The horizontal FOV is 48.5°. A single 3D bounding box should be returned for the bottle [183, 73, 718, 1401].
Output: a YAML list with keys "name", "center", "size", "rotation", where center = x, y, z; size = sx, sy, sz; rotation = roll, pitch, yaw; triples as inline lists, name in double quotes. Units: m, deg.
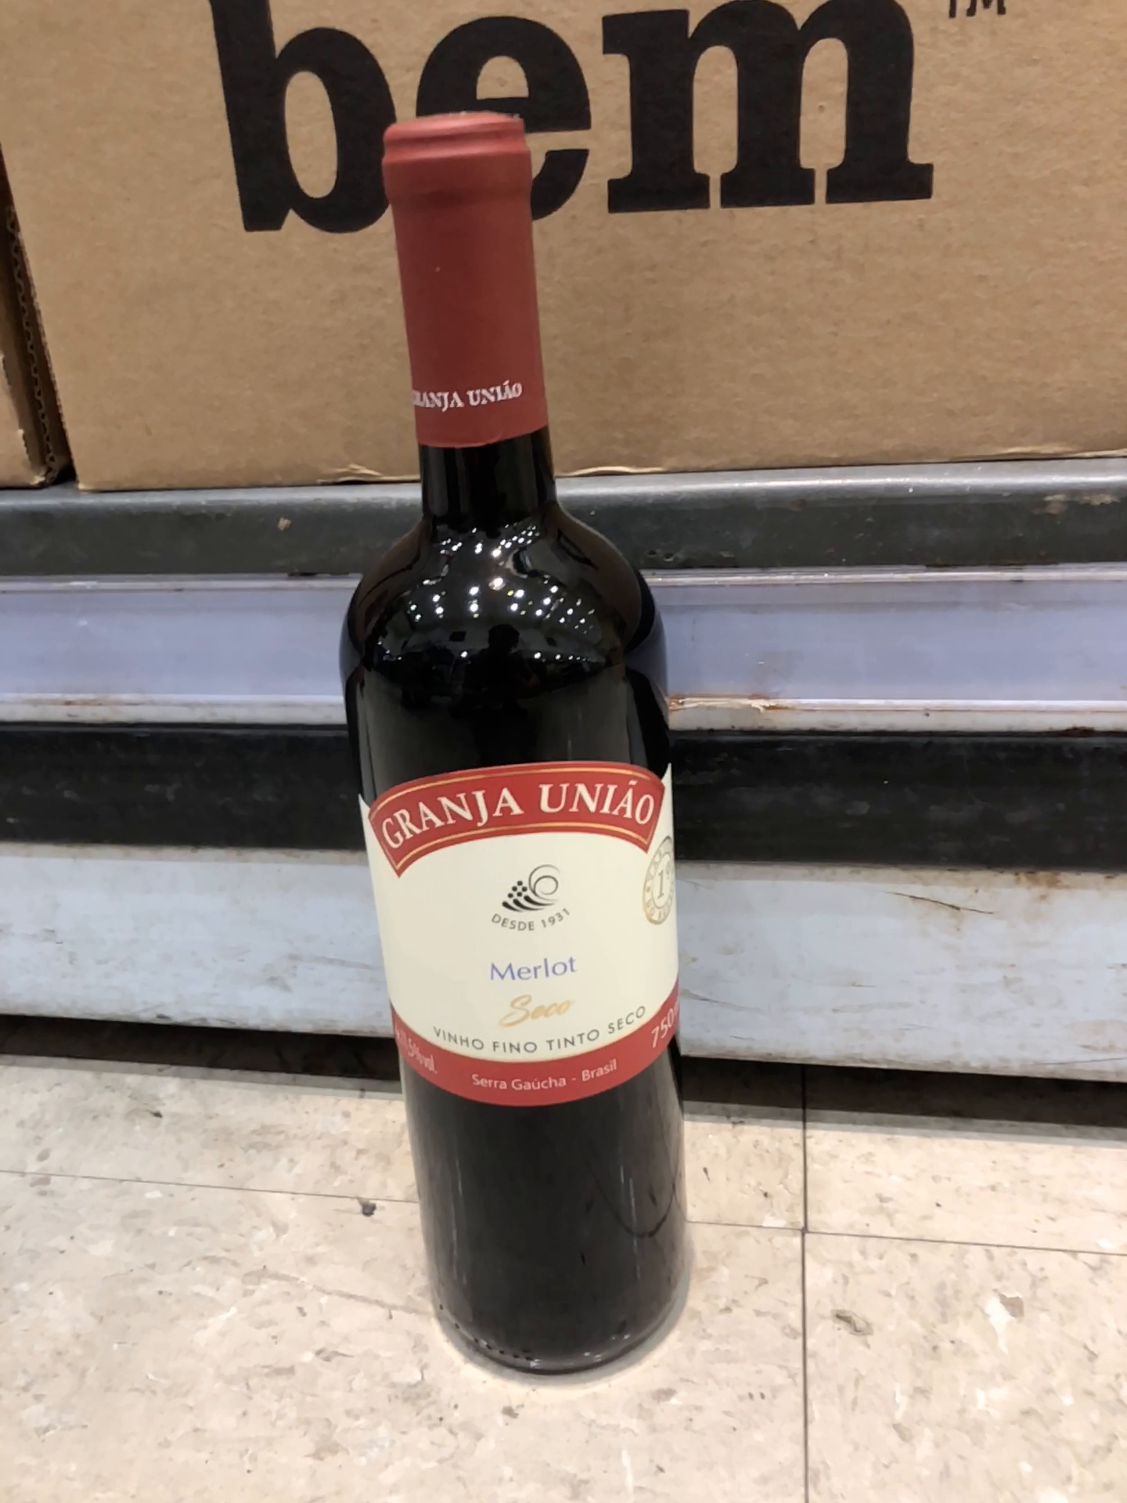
- name: "bottle"
  center: [-0.012, 0.013, 0.298]
  size: [0.080, 0.298, 0.081]
  rotation: [-4, 25, 2]
